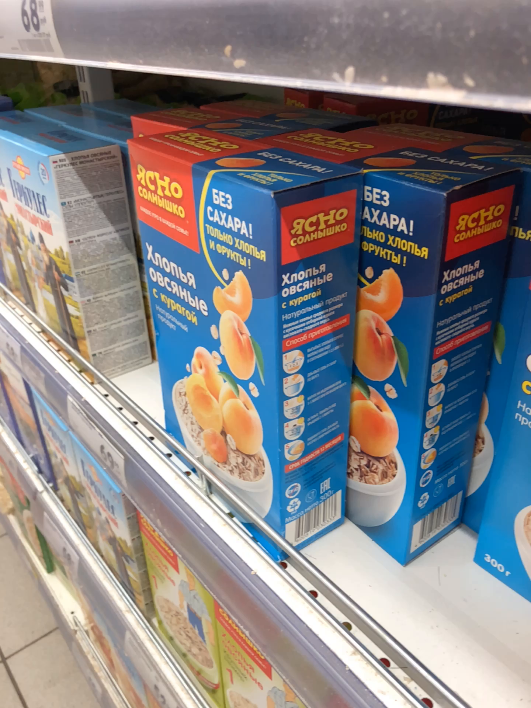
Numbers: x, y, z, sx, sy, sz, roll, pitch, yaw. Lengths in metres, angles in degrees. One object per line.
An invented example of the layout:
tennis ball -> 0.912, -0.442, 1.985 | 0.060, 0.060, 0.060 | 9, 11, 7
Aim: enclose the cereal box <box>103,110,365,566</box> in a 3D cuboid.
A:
cereal box -> -0.021, -0.015, 0.329 | 0.050, 0.209, 0.151 | -21, 34, -30
